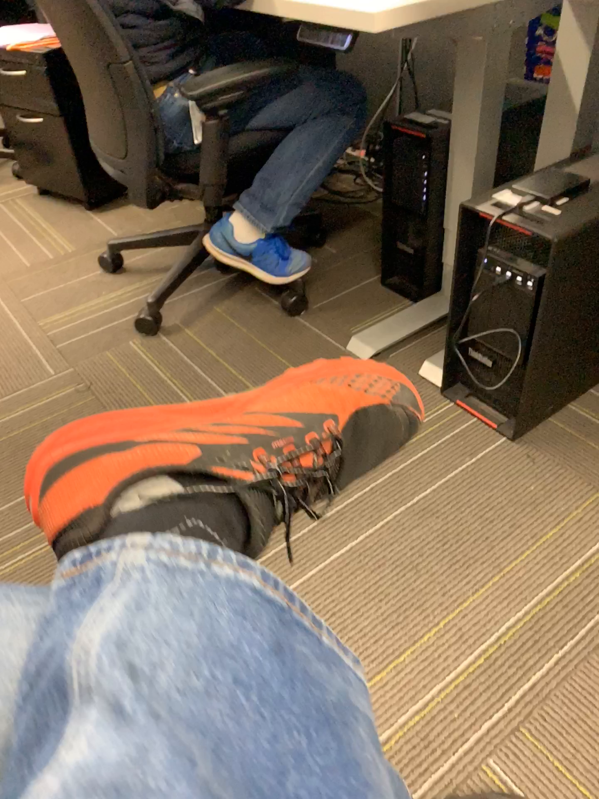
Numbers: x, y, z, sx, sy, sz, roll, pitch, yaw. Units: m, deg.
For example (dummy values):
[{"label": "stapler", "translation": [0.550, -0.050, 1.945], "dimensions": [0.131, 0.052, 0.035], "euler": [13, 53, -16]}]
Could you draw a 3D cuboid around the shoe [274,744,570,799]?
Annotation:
[{"label": "shoe", "translation": [0.140, 0.538, 0.736], "dimensions": [0.318, 0.067, 0.118], "euler": [-14, 46, -10]}]

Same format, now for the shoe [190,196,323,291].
[{"label": "shoe", "translation": [-0.114, -0.412, 1.647], "dimensions": [0.318, 0.115, 0.115], "euler": [12, 37, -30]}]

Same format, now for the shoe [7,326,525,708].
[{"label": "shoe", "translation": [-0.025, 0.064, 0.447], "dimensions": [0.321, 0.110, 0.146], "euler": [-16, 36, -16]}]
